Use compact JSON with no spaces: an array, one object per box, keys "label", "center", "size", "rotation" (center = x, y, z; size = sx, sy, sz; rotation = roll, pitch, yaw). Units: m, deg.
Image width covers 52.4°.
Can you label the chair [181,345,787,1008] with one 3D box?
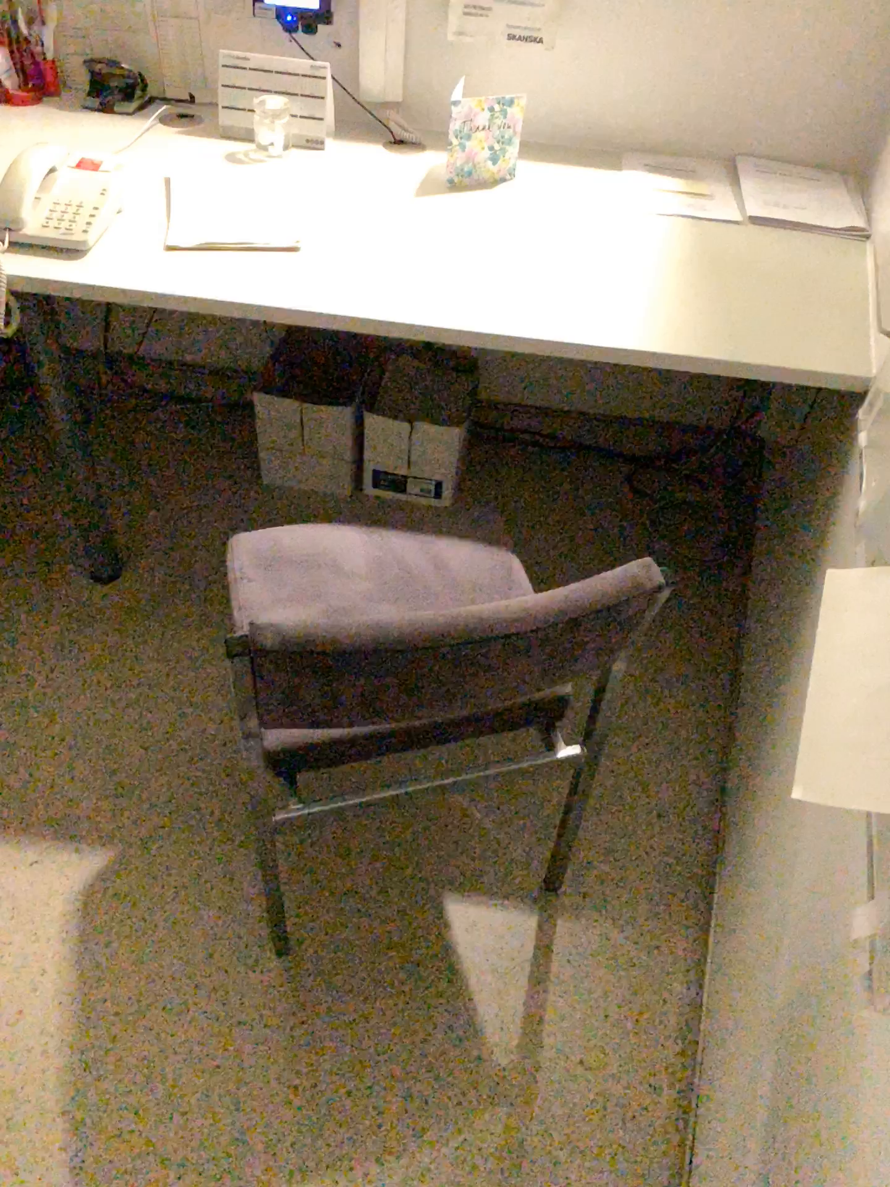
[{"label":"chair","center":[-0.023,0.107,1.266],"size":[0.570,0.664,0.555],"rotation":[-7,45,-13]}]
